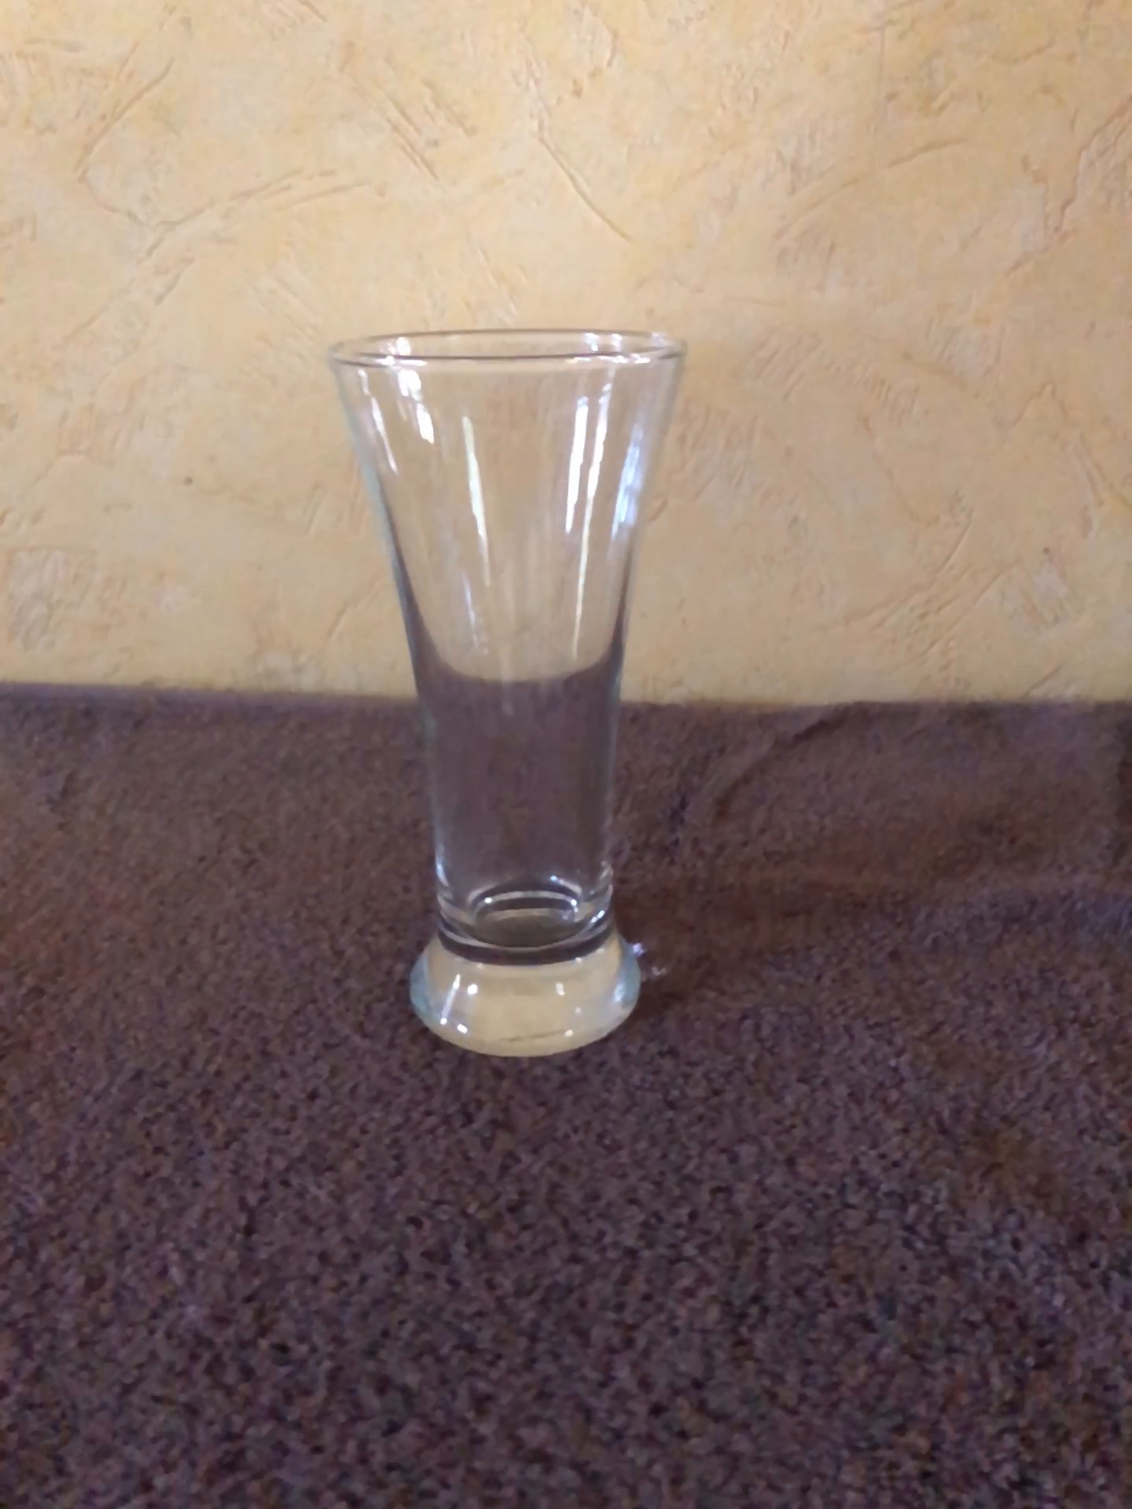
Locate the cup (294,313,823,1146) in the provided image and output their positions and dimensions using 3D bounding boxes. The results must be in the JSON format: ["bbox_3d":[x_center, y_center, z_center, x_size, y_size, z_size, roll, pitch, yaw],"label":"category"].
[{"bbox_3d":[-0.005,-0.012,0.268,0.080,0.149,0.080,-1,22,0],"label":"cup"}]
